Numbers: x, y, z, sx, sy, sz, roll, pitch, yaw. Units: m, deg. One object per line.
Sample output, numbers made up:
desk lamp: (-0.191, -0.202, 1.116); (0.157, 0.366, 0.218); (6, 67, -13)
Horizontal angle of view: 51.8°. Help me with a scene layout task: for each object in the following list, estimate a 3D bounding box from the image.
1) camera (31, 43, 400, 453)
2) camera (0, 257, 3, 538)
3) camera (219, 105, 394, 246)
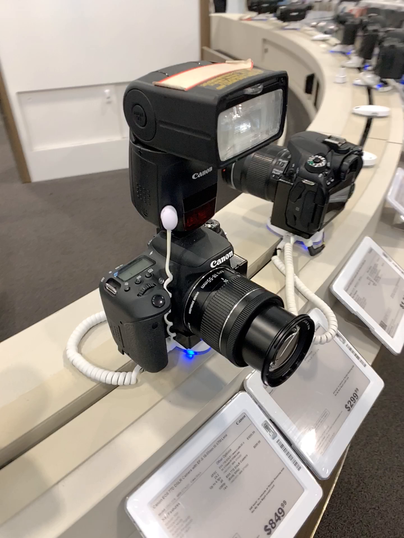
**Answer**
camera: (0.004, -0.026, 0.323); (0.140, 0.232, 0.177); (-31, 47, -34)
camera: (-0.253, 0.097, 0.280); (0.140, 0.103, 0.166); (-31, 47, -34)
camera: (0.132, -0.133, 0.552); (0.166, 0.103, 0.140); (28, 45, 32)
